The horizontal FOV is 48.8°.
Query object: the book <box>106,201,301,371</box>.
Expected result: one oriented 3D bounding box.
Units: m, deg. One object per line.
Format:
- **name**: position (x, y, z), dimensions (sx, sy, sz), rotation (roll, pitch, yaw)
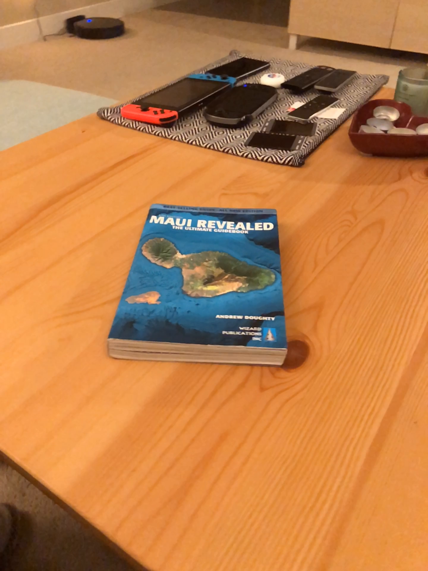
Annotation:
- **book**: position (-0.003, -0.012, 0.435), dimensions (0.146, 0.020, 0.201), rotation (3, 42, 1)
